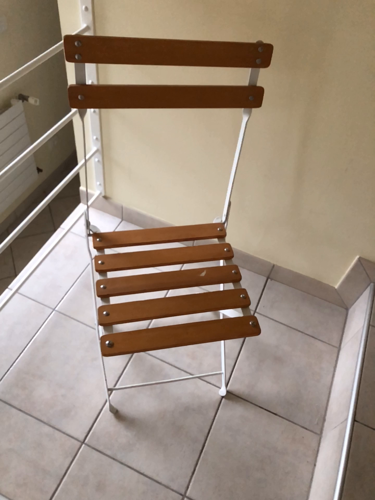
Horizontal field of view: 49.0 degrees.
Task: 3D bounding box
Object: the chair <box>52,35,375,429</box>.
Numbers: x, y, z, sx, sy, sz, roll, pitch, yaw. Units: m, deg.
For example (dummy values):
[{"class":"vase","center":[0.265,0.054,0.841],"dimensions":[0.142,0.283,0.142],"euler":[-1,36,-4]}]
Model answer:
[{"class":"chair","center":[-0.034,0.032,1.000],"dimensions":[0.441,0.875,0.432],"euler":[-5,50,-12]}]
